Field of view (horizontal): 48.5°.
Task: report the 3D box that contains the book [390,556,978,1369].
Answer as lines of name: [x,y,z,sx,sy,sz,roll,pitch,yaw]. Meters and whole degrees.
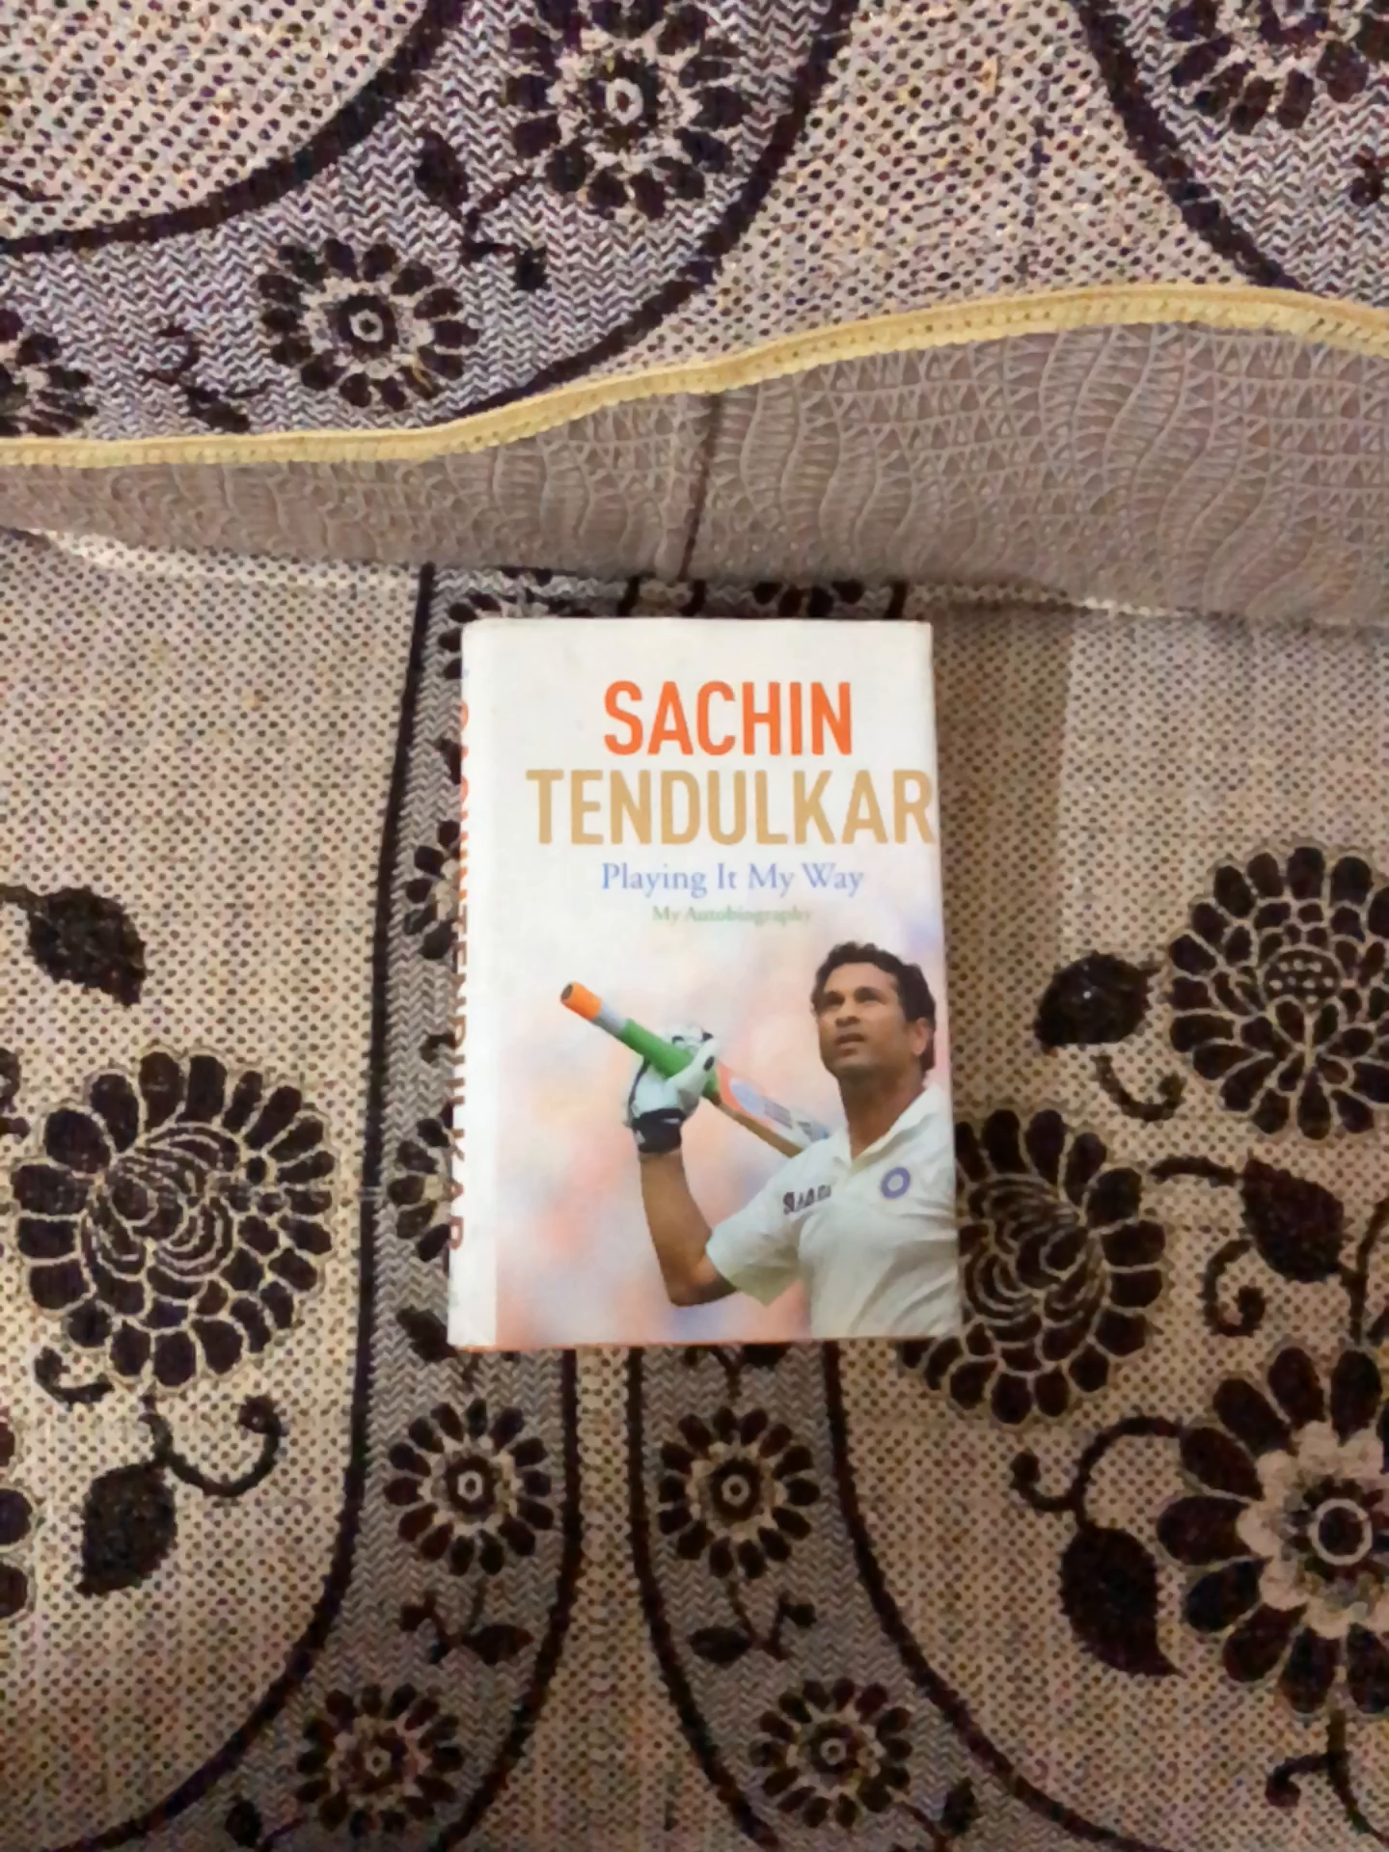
book: [-0.007,0.012,0.528,0.180,0.070,0.260,0,79,-6]
